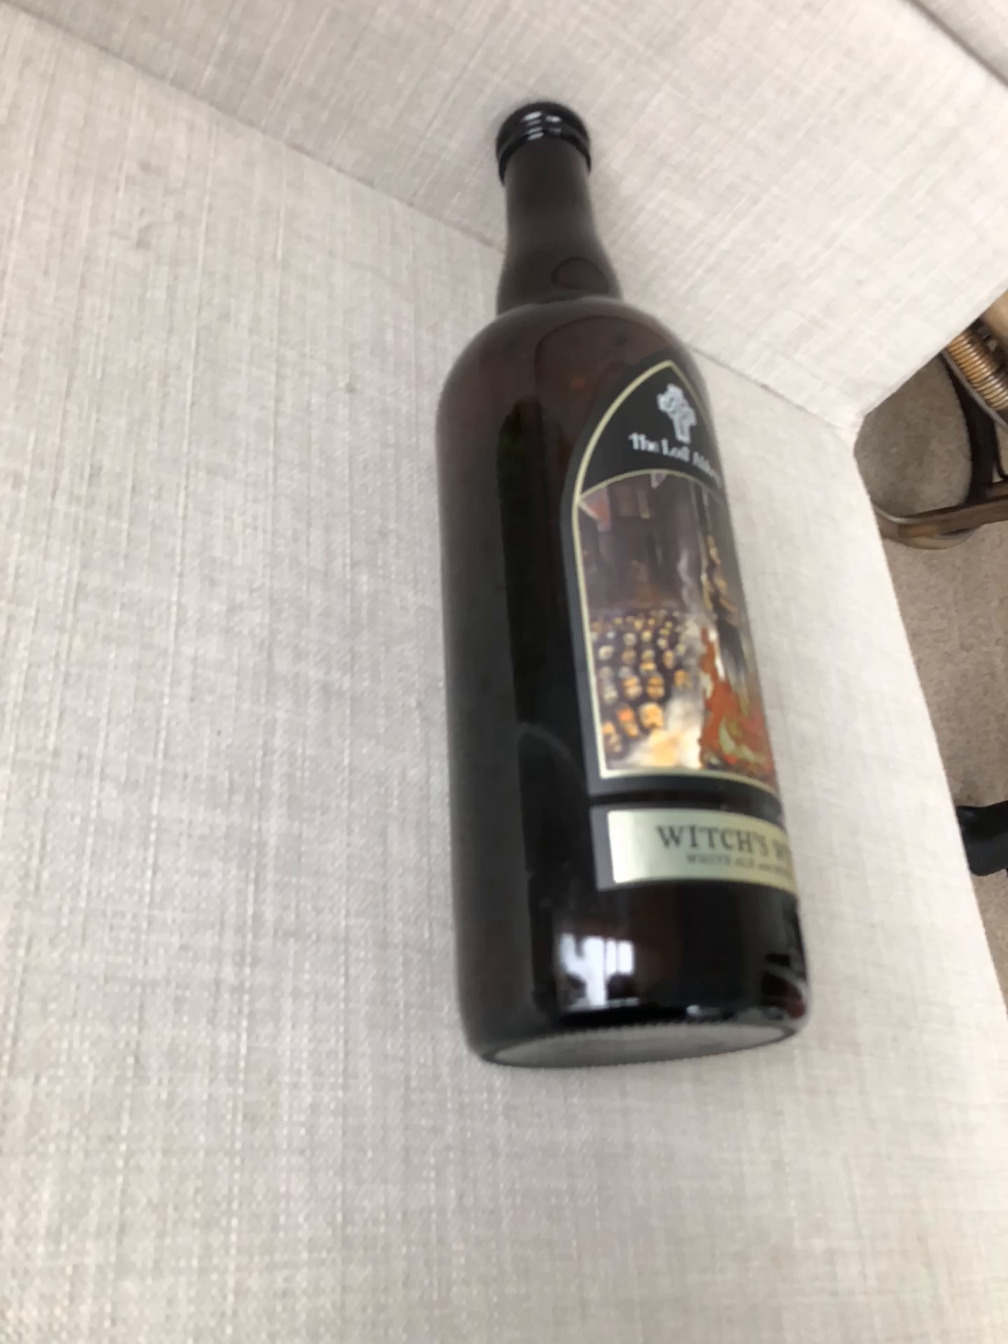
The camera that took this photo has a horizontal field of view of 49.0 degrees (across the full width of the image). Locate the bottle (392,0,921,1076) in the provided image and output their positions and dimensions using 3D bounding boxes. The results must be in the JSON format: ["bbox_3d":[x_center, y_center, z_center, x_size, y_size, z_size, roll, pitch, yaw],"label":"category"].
[{"bbox_3d":[0.026,-0.045,0.294,0.080,0.079,0.281,15,61,-34],"label":"bottle"}]
